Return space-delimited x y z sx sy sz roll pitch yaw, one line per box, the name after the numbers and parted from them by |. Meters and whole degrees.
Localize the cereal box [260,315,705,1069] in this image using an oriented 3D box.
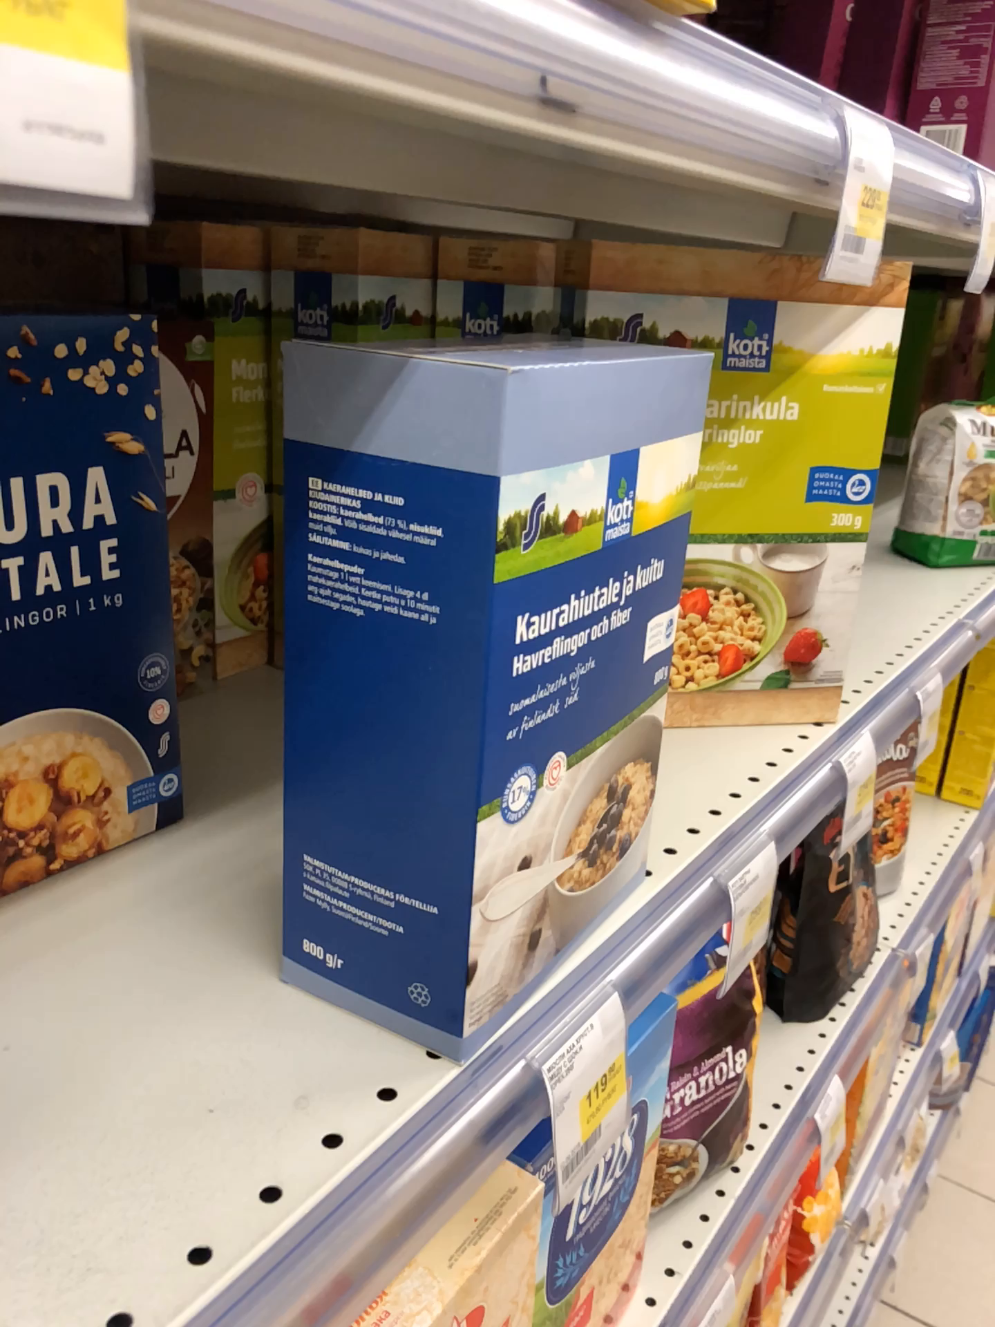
-0.003 -0.005 0.389 0.080 0.219 0.151 13 20 26 | cereal box
